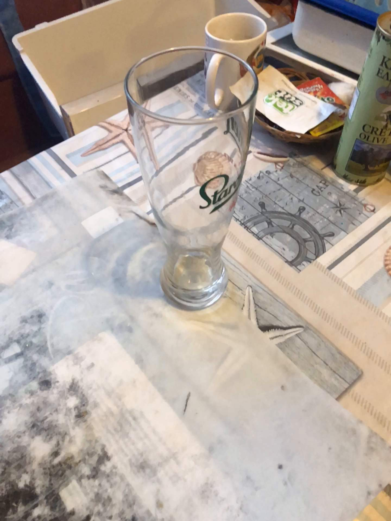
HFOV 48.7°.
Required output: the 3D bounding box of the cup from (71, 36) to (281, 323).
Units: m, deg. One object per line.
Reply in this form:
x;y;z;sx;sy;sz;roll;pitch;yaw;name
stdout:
-0.008;-0.051;0.342;0.098;0.192;0.089;22;57;16;cup
